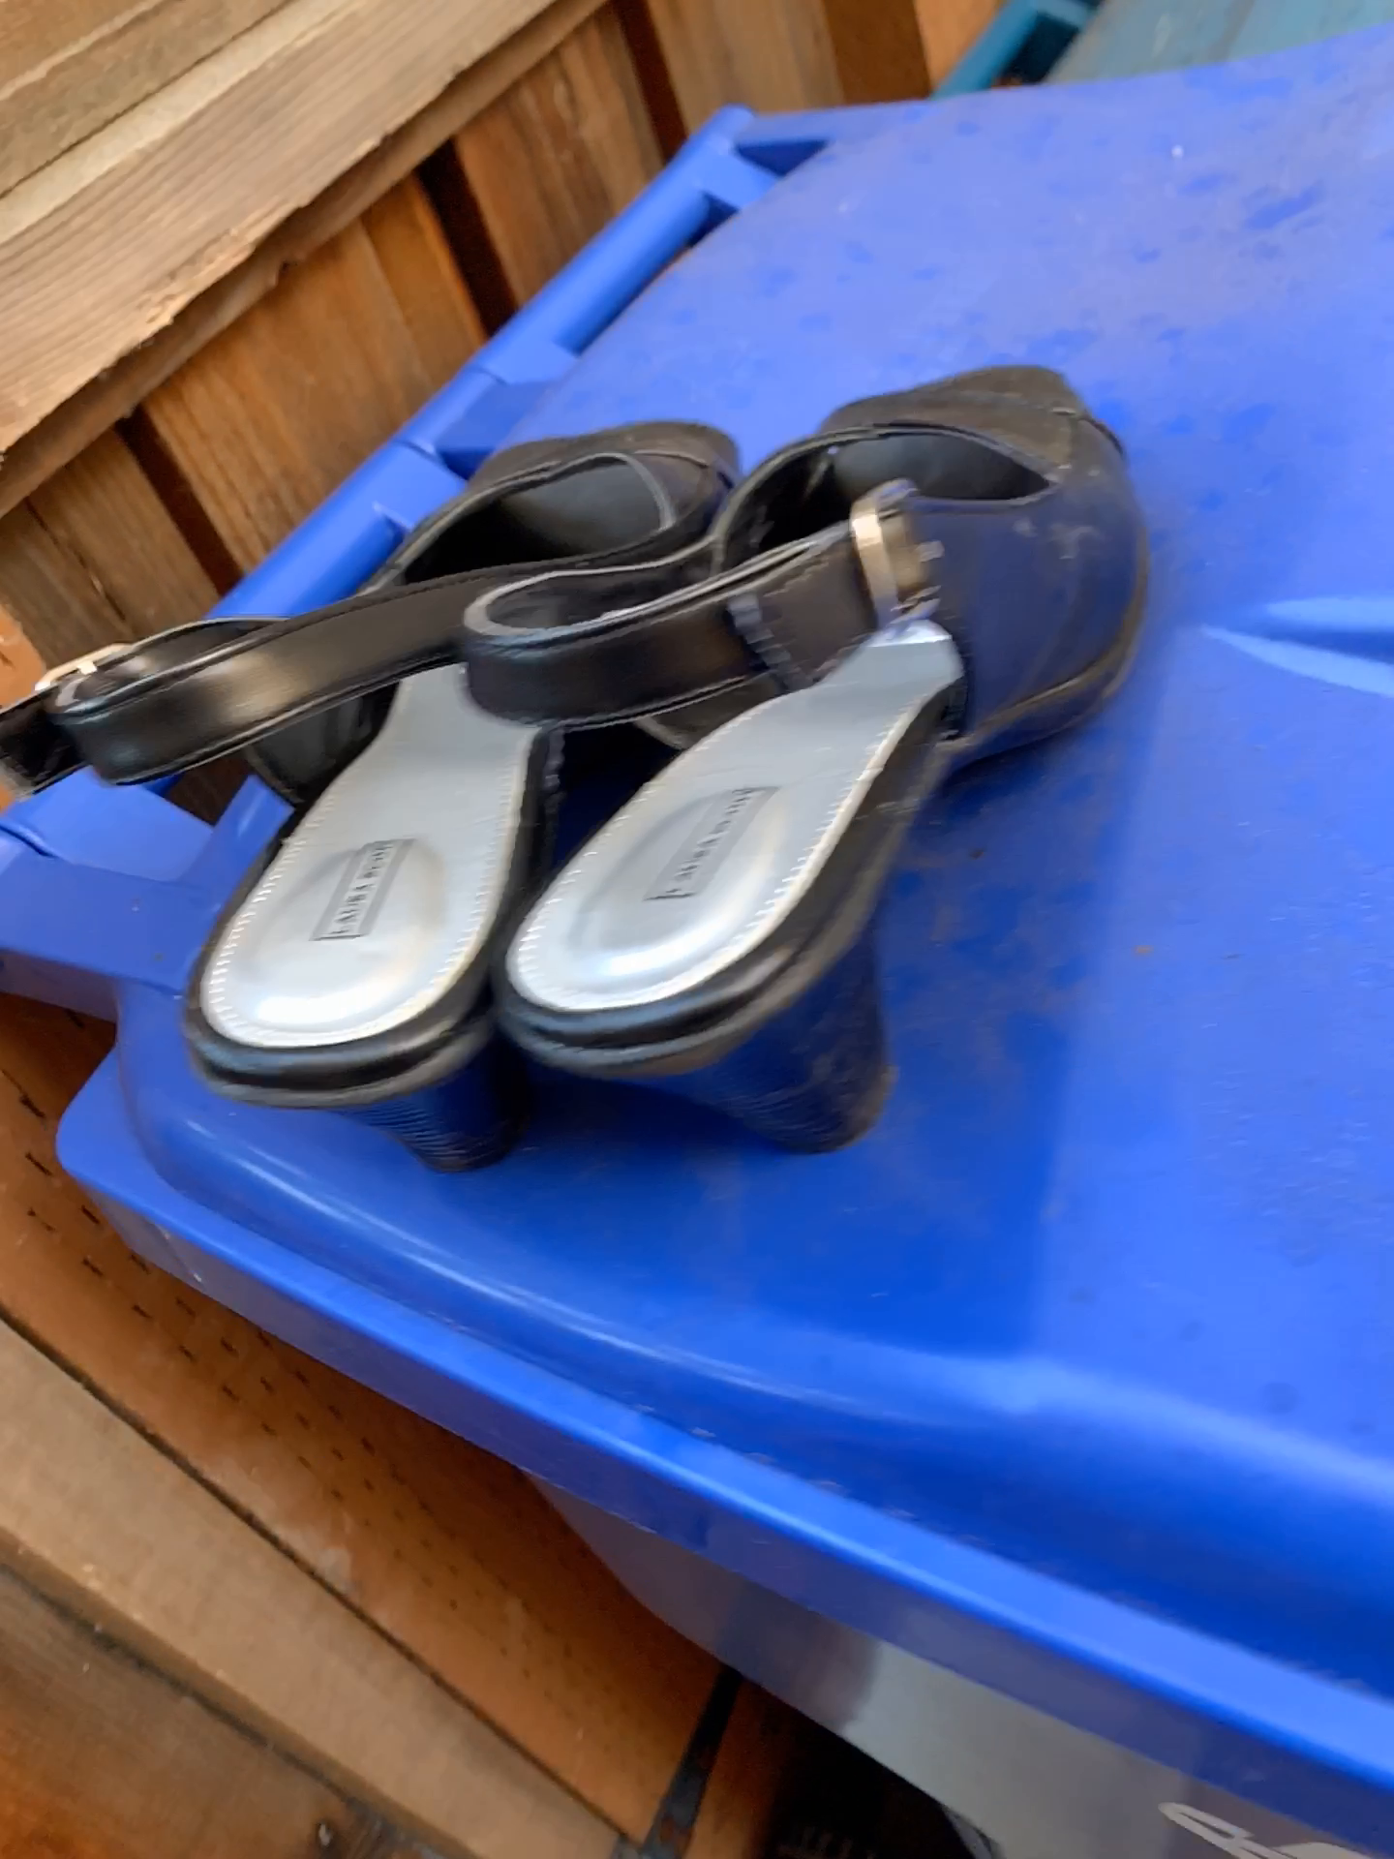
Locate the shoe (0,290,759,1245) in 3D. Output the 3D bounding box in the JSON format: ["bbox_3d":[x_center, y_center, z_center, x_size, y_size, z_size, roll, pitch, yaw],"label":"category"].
[{"bbox_3d":[-0.044,-0.059,0.323,0.090,0.089,0.252,-1,37,9],"label":"shoe"}]

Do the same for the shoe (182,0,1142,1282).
[{"bbox_3d":[0.025,-0.074,0.272,0.090,0.099,0.252,-3,45,24],"label":"shoe"}]
